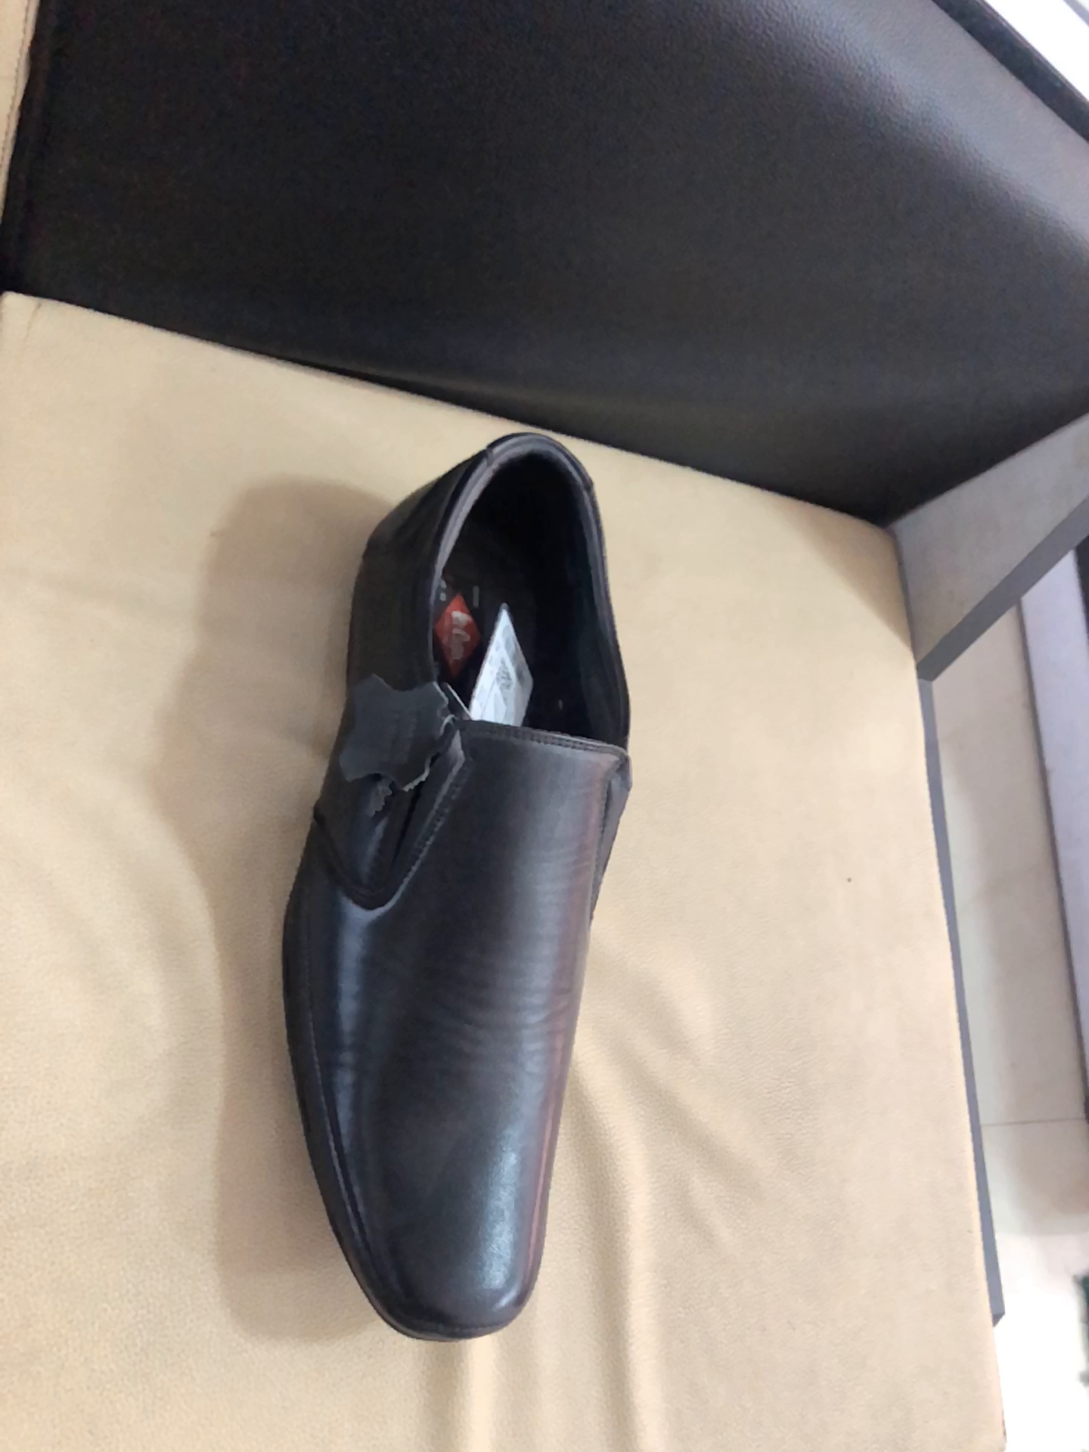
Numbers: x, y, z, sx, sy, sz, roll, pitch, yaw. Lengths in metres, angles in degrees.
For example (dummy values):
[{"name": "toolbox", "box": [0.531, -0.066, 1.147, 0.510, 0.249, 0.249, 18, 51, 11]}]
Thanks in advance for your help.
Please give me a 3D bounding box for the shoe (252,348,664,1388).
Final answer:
[{"name": "shoe", "box": [-0.027, 0.041, 0.427, 0.101, 0.089, 0.320, 10, 69, -26]}]
